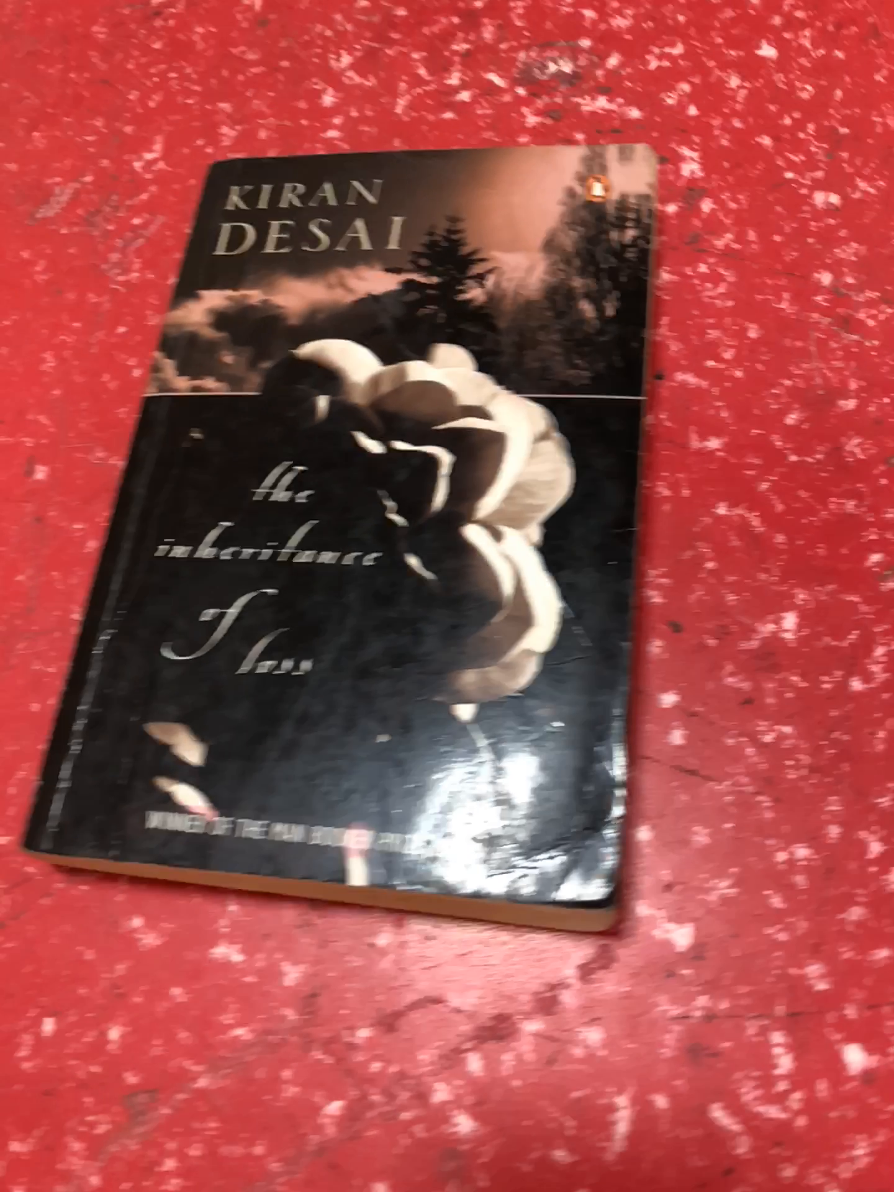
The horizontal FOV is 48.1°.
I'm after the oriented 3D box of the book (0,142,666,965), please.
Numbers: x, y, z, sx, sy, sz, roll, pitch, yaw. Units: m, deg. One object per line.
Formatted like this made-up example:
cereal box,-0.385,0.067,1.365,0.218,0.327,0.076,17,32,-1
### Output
book,-0.016,-0.017,0.252,0.130,0.060,0.190,3,67,11
